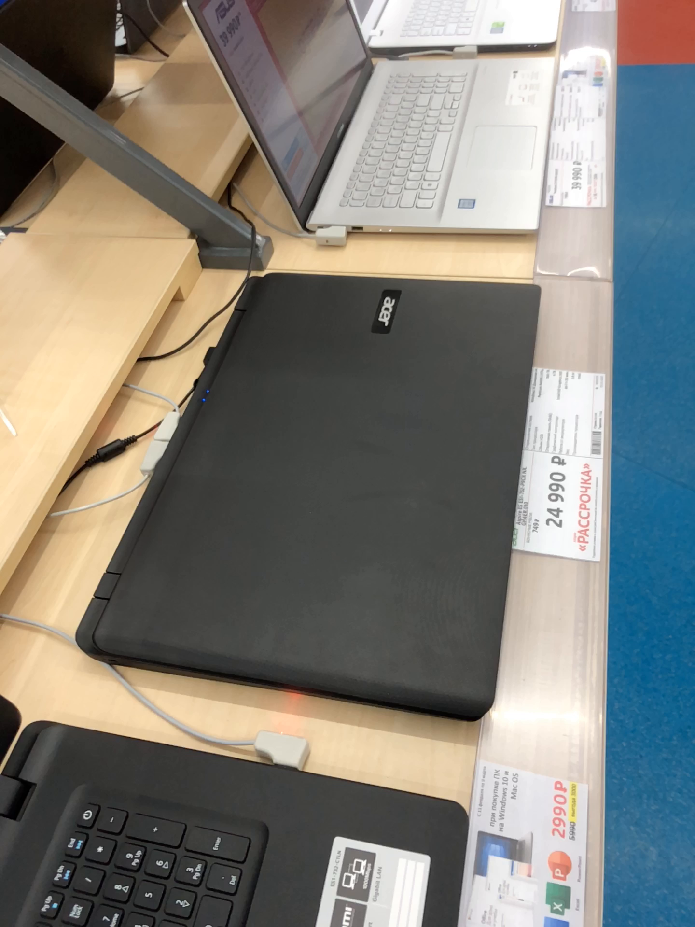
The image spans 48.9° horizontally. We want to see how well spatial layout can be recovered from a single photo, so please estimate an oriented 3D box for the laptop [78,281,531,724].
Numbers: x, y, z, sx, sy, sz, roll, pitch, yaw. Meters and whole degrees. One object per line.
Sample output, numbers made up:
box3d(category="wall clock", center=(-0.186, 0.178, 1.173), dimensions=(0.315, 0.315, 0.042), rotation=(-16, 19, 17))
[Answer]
box3d(category="laptop", center=(-0.006, -0.014, 0.619), dimensions=(0.277, 0.005, 0.411), rotation=(6, 50, 13))
